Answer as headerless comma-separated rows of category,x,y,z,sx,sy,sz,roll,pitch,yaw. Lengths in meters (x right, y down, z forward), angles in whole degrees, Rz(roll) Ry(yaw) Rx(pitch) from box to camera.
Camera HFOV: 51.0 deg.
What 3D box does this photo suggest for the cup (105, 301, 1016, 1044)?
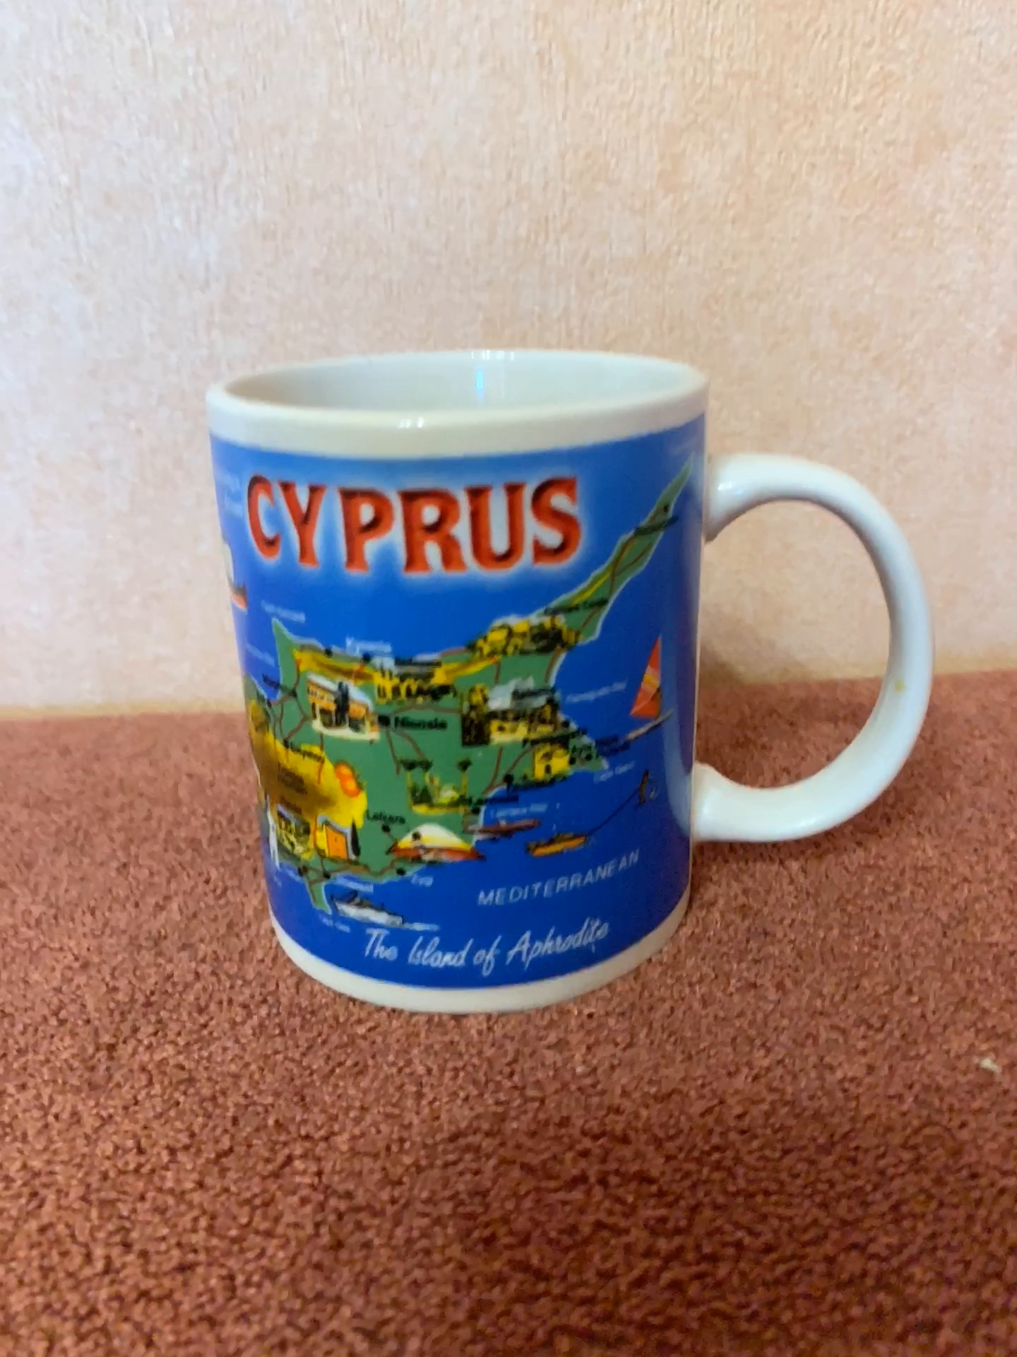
cup,0.017,-0.007,0.174,0.118,0.091,0.085,-2,24,3
